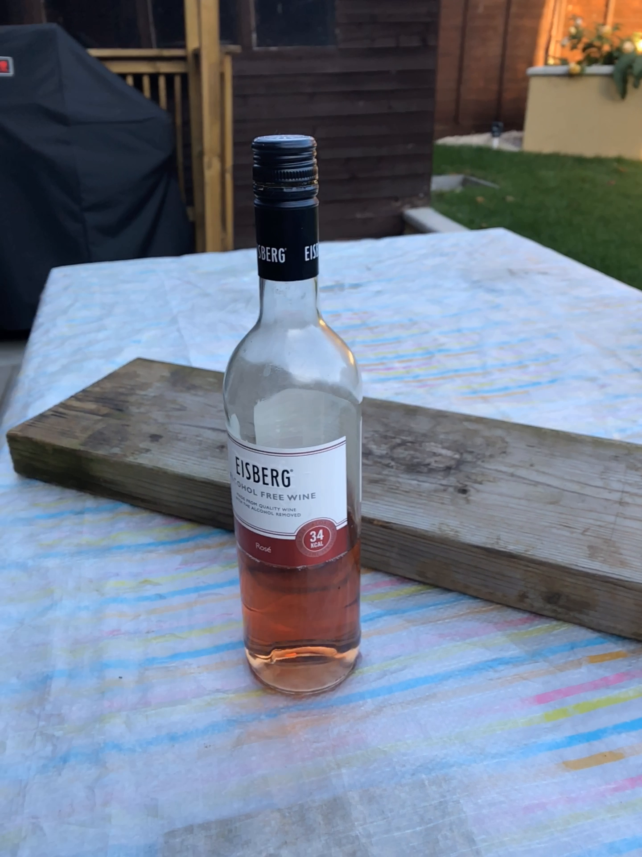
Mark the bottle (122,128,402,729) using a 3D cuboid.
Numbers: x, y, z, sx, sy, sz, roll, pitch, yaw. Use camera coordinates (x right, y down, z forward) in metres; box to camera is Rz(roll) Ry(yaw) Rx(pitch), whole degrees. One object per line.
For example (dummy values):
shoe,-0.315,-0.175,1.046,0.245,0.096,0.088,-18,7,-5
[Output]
bottle,-0.019,0.006,0.364,0.090,0.288,0.080,11,29,24
